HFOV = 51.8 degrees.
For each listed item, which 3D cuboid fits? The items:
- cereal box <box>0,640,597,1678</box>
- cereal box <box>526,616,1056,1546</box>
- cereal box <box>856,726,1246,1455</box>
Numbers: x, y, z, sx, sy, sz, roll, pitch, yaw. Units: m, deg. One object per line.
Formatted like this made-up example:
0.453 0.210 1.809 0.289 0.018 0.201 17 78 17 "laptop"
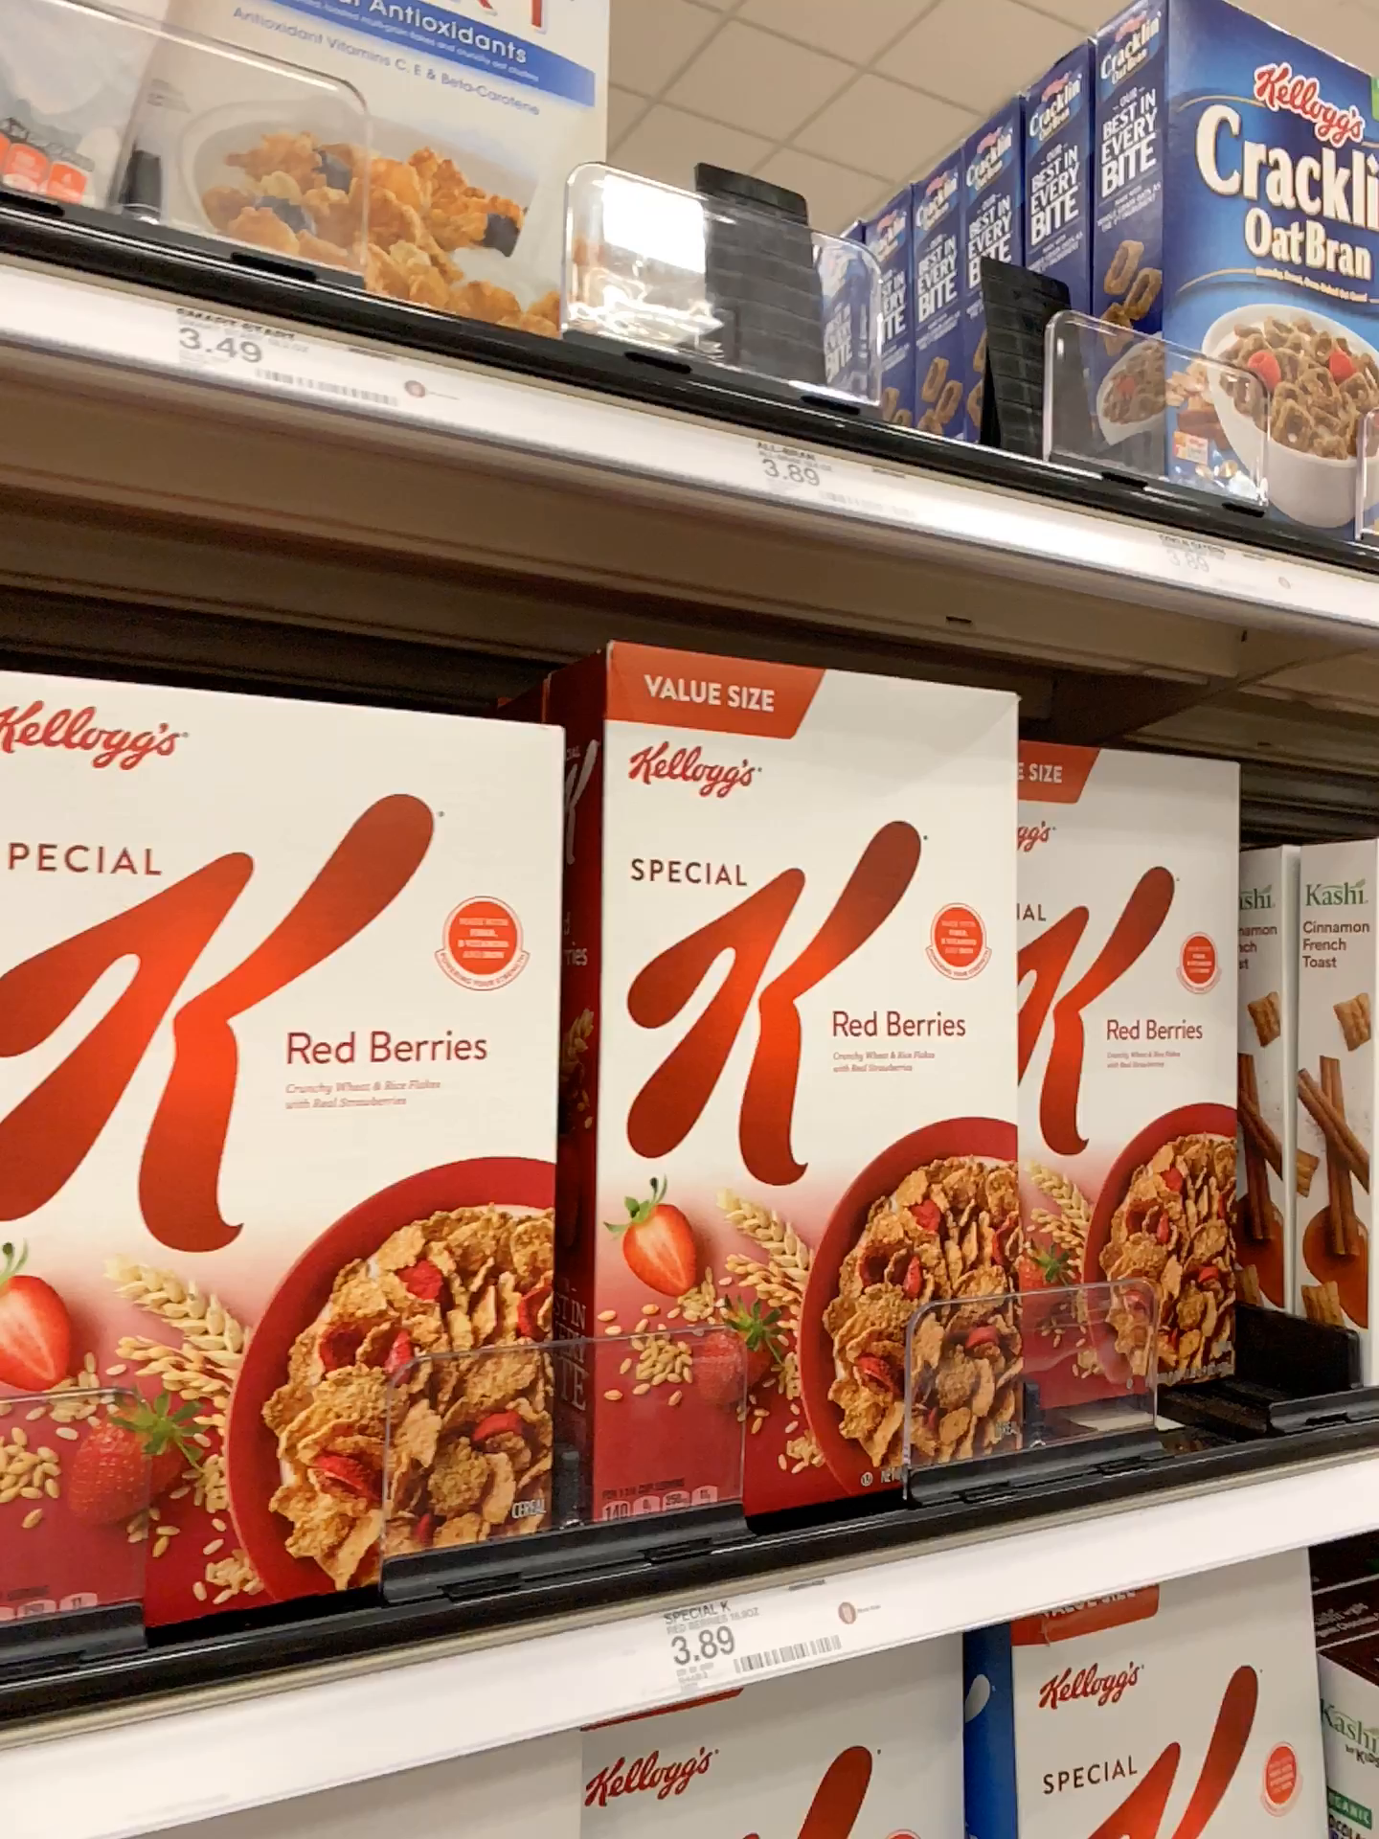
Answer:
-0.139 0.070 0.475 0.200 0.290 0.060 3 -3 -30 "cereal box"
0.046 0.058 0.565 0.200 0.320 0.060 3 -3 -29 "cereal box"
0.188 0.081 0.721 0.200 0.330 0.060 3 -3 -30 "cereal box"
